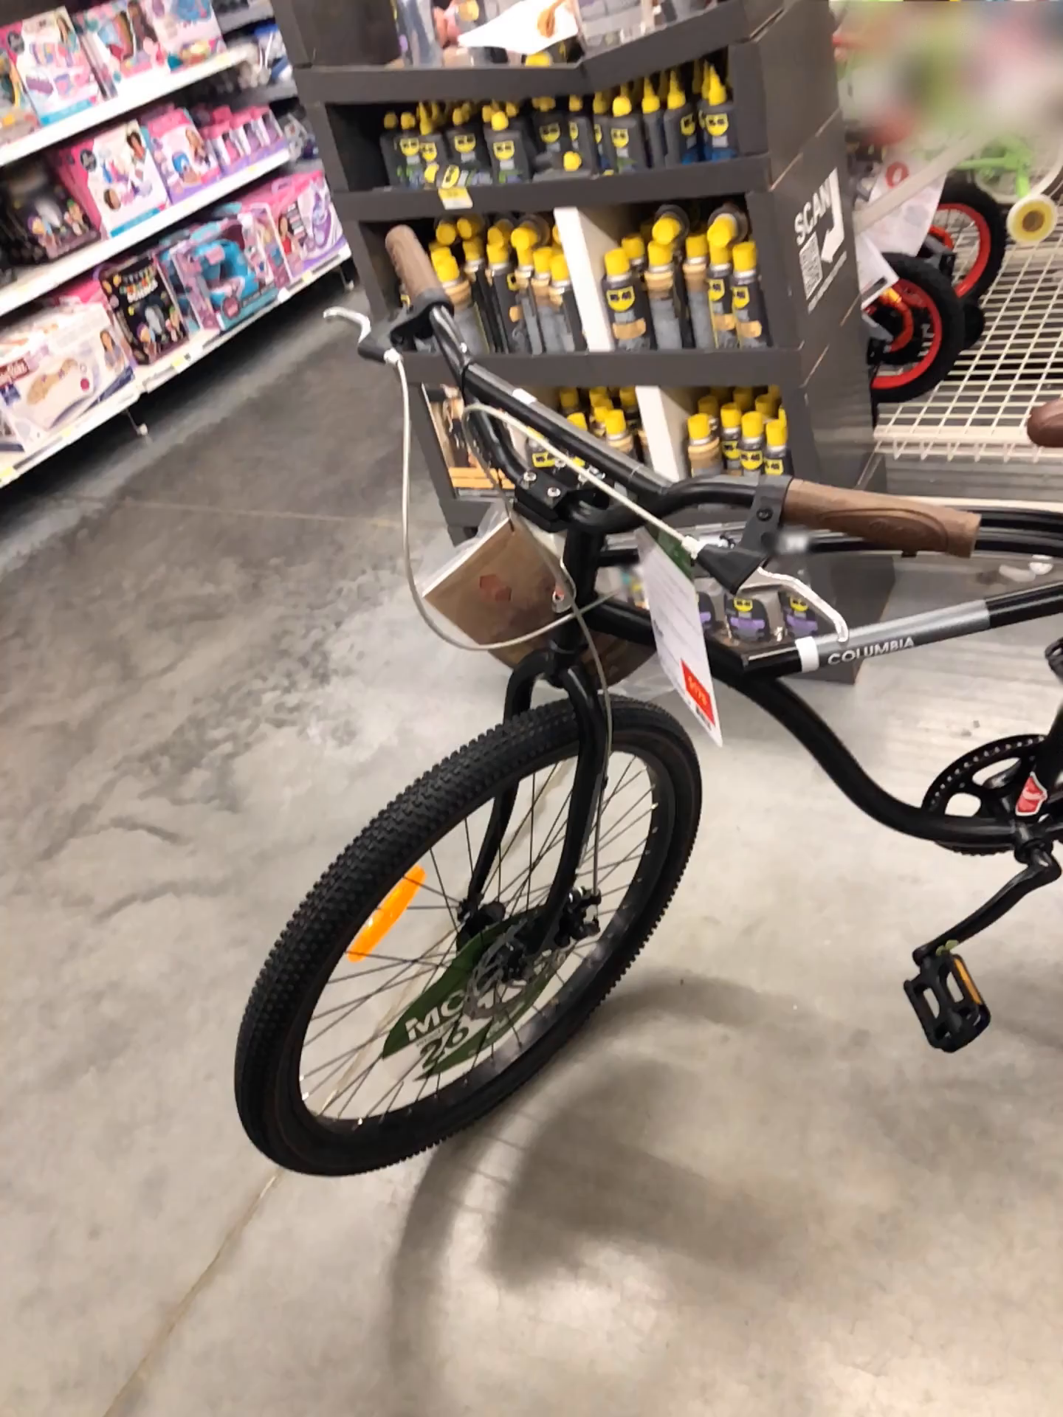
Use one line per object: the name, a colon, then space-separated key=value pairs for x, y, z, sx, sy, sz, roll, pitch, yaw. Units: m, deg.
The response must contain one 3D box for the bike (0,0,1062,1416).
bike: x=0.456 y=-0.025 z=1.006 sx=1.581 sy=0.975 sz=0.656 roll=-14 pitch=36 yaw=-4
